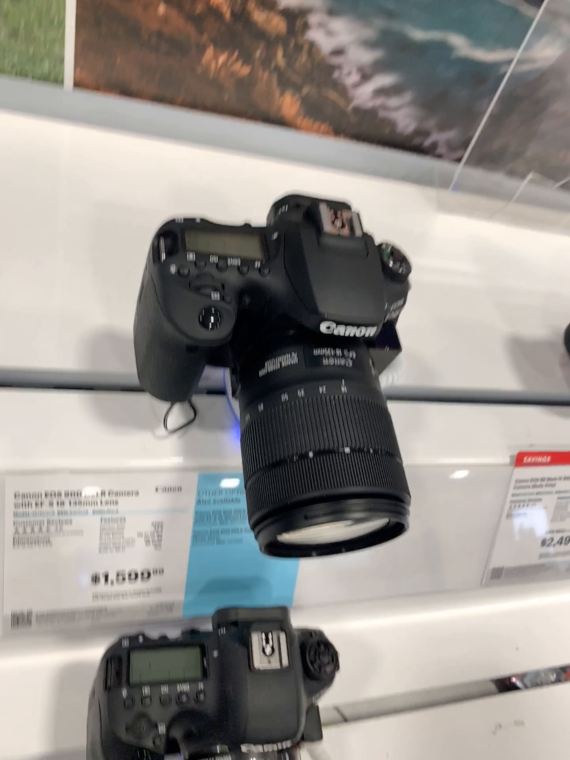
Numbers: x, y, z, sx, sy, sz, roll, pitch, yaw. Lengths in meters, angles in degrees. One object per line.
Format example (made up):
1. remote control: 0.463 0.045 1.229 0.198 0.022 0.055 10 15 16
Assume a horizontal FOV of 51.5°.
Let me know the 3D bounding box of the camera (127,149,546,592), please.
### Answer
1. camera: 0.004 -0.002 0.291 0.148 0.104 0.171 2 58 -20
